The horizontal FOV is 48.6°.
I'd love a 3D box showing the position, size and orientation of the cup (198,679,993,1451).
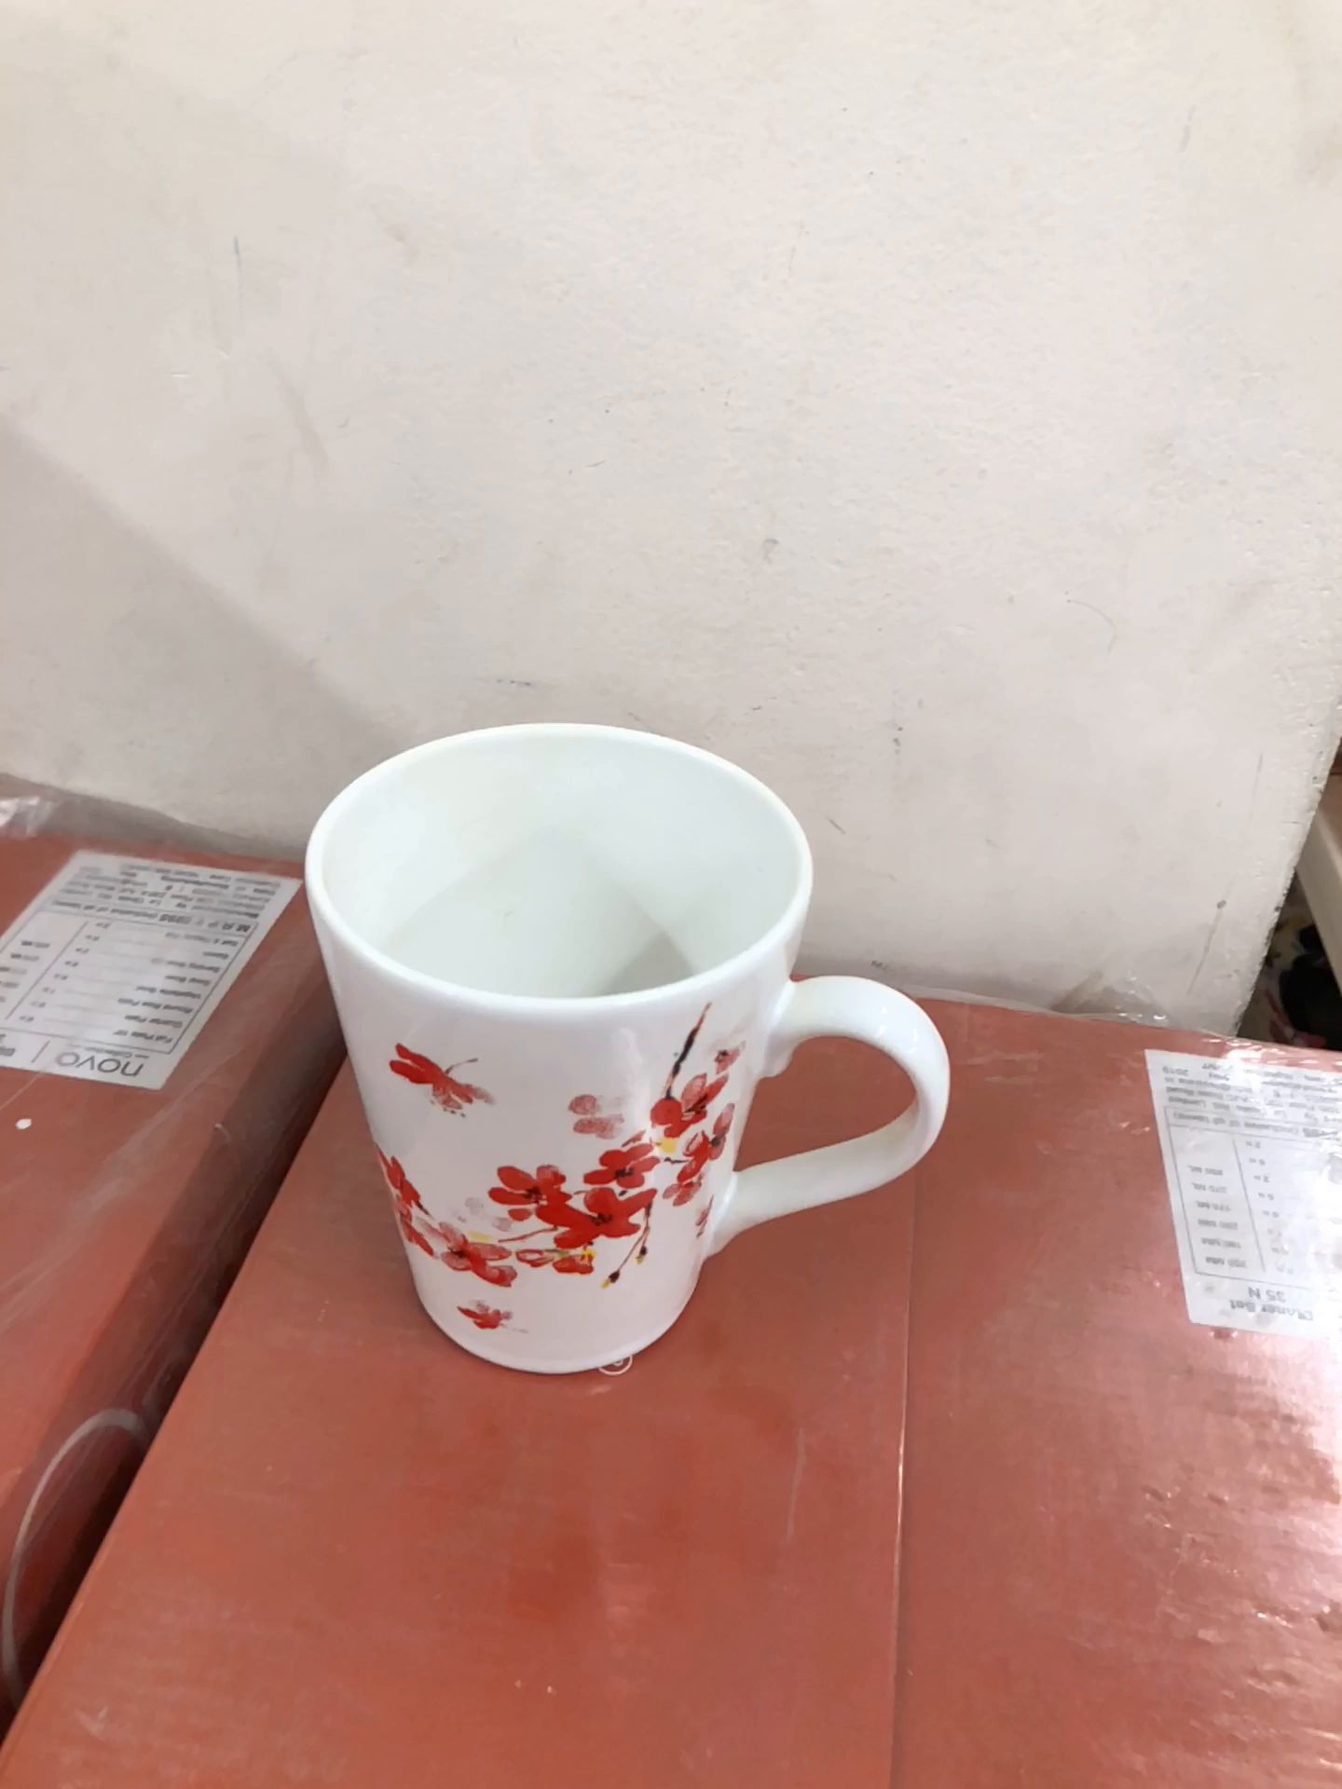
[{"bbox_3d":[-0.010,0.029,0.266,0.110,0.099,0.081,5,36,2],"label":"cup"}]
